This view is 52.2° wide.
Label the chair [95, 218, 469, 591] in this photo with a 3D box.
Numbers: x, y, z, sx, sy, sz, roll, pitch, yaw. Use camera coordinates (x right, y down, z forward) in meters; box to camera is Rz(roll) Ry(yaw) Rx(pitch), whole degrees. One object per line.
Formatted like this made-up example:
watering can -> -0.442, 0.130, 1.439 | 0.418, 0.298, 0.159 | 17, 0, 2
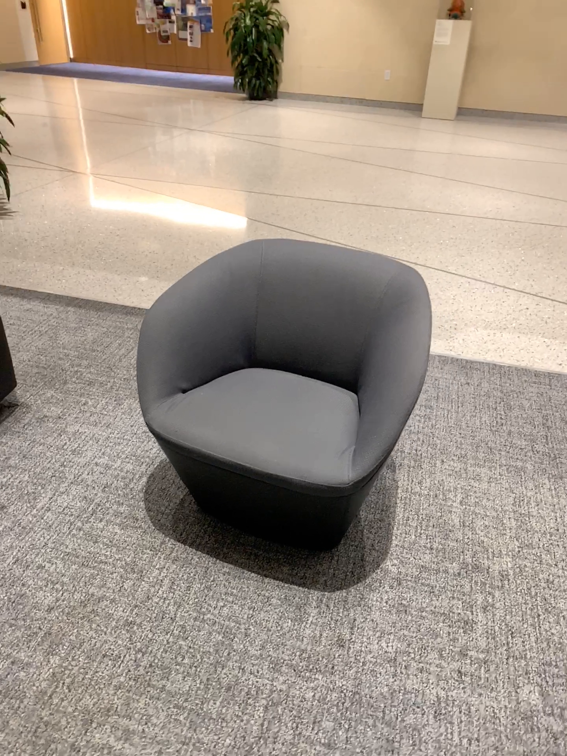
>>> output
chair -> 0.030, 0.015, 1.651 | 0.779, 0.658, 0.636 | 13, 34, 17
